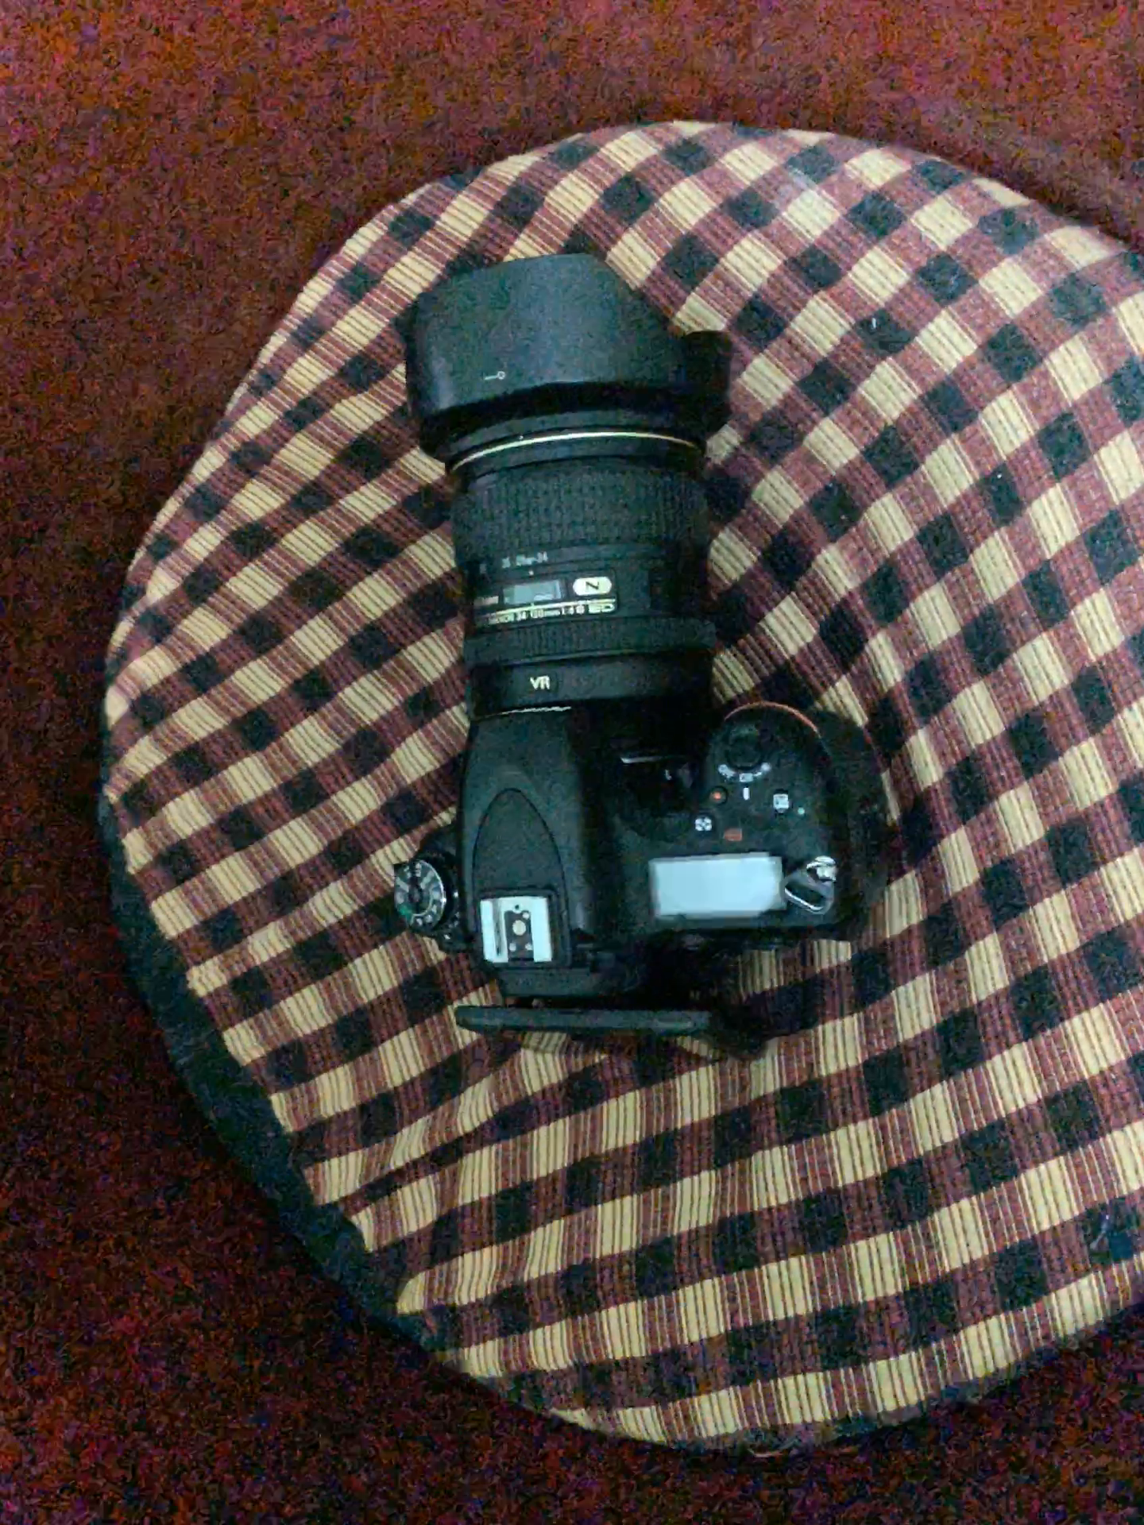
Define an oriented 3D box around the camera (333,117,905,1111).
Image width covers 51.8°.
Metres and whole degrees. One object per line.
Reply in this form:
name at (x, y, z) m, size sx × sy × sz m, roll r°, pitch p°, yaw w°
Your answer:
camera at (0.017, -0.034, 0.368) m, size 0.140 × 0.101 × 0.250 m, roll -4°, pitch 86°, yaw 25°
